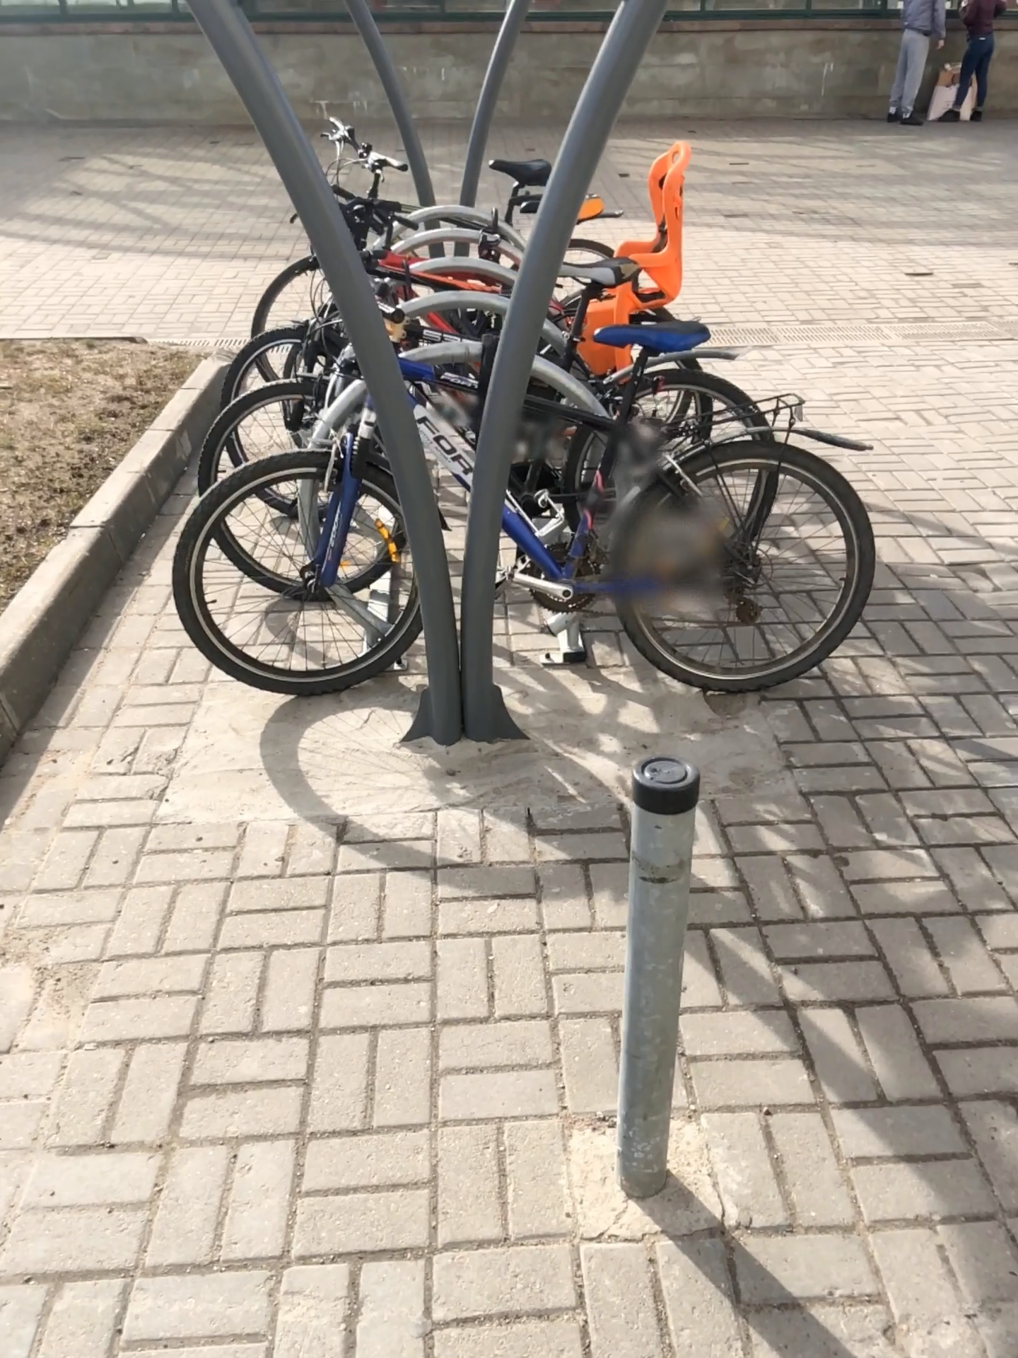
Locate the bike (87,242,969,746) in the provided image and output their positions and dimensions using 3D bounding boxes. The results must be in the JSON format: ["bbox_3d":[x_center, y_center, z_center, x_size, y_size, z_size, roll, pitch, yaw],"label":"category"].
[{"bbox_3d":[0.069,-0.447,2.592,1.658,0.959,0.630,-2,32,-4],"label":"bike"}]
